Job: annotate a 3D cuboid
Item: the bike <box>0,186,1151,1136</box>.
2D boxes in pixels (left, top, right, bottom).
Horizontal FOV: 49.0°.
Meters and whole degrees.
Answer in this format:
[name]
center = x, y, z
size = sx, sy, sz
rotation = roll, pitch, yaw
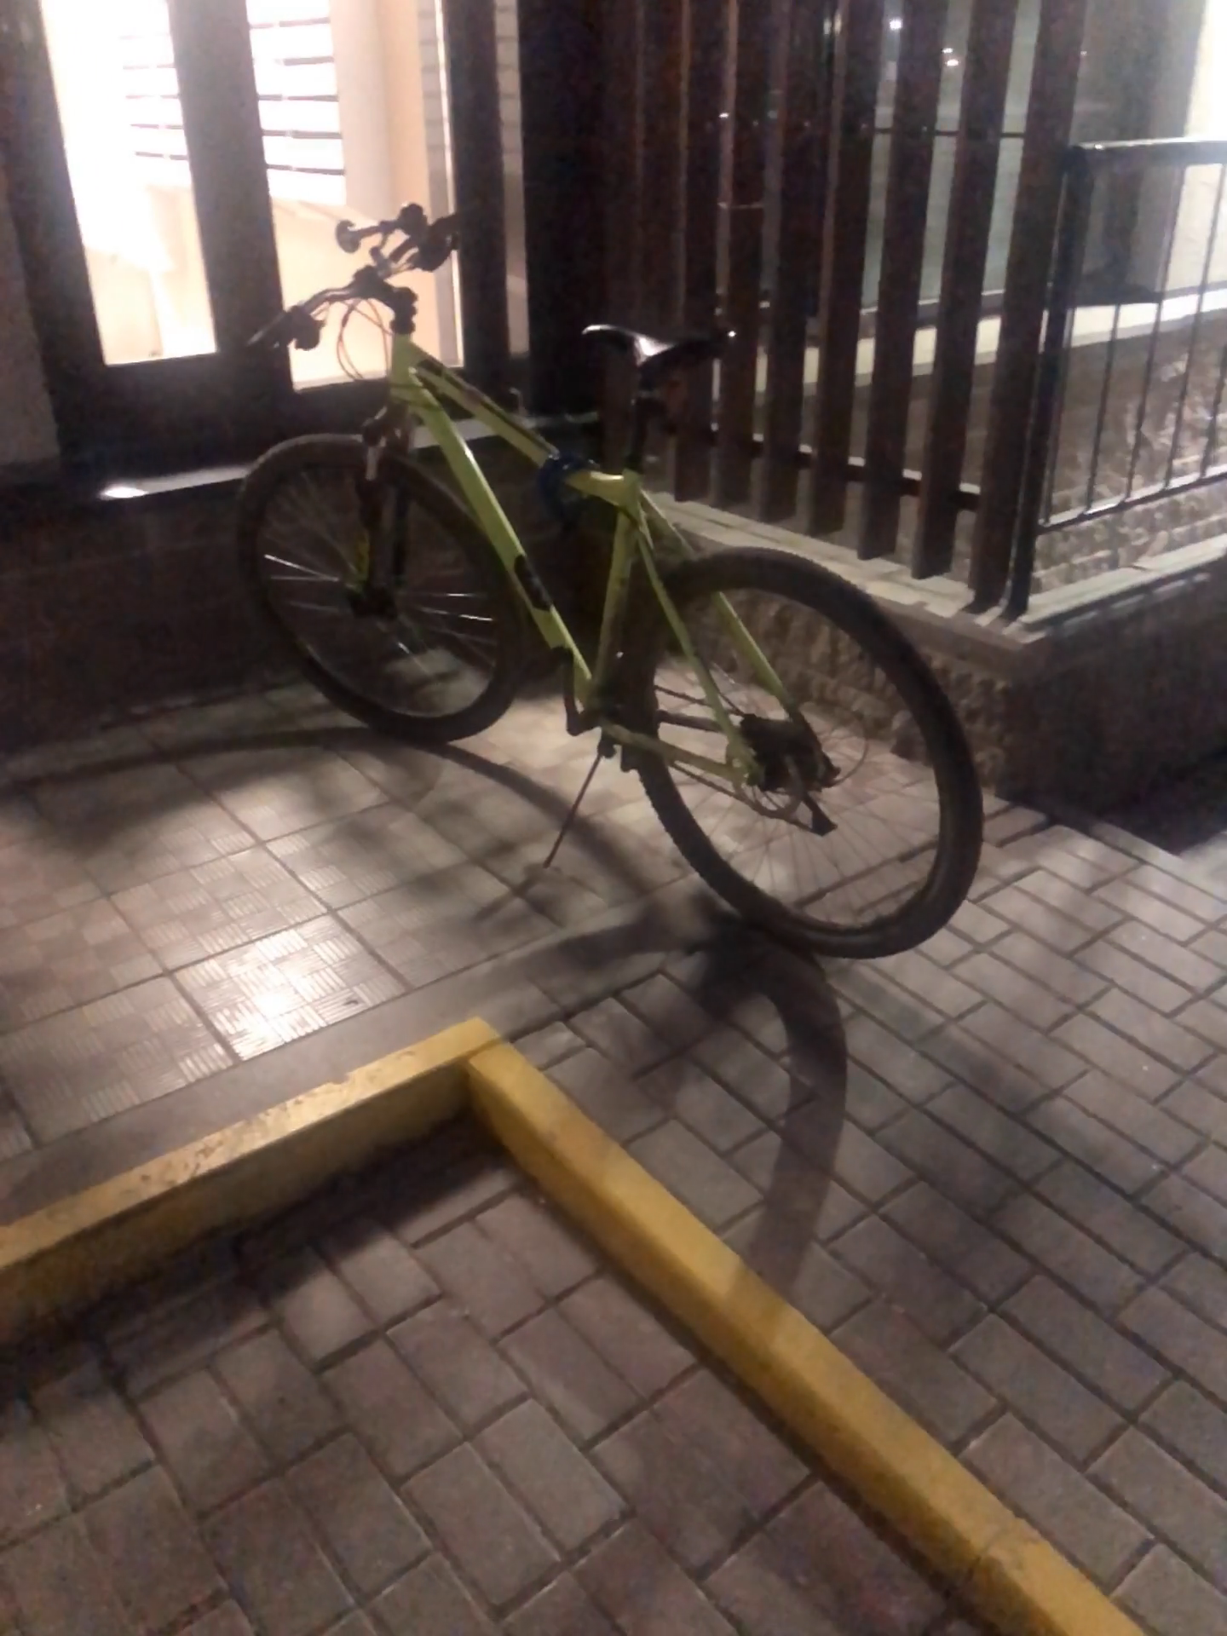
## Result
[bike]
center = -0.191, -0.443, 2.348
size = 1.764, 1.095, 0.721
rotation = 23, 35, 35
